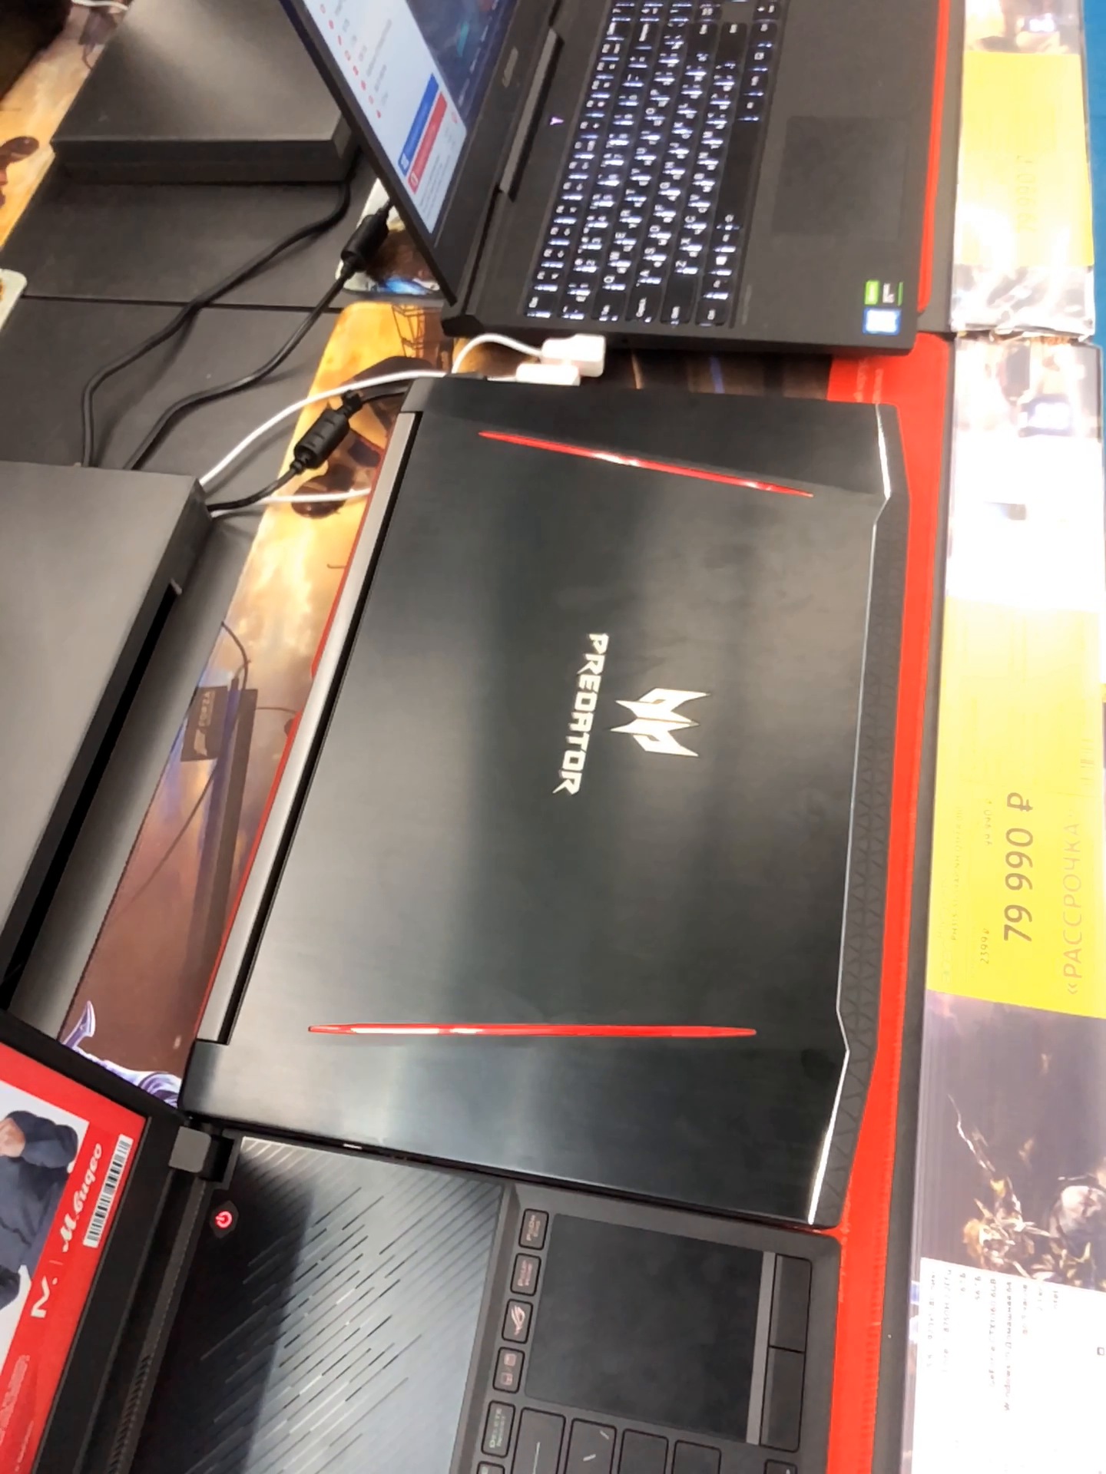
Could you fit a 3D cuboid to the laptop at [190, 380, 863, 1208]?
[{"bbox_3d":[0.008,-0.013,0.531,0.228,0.004,0.378,6,61,10],"label":"laptop"}]
